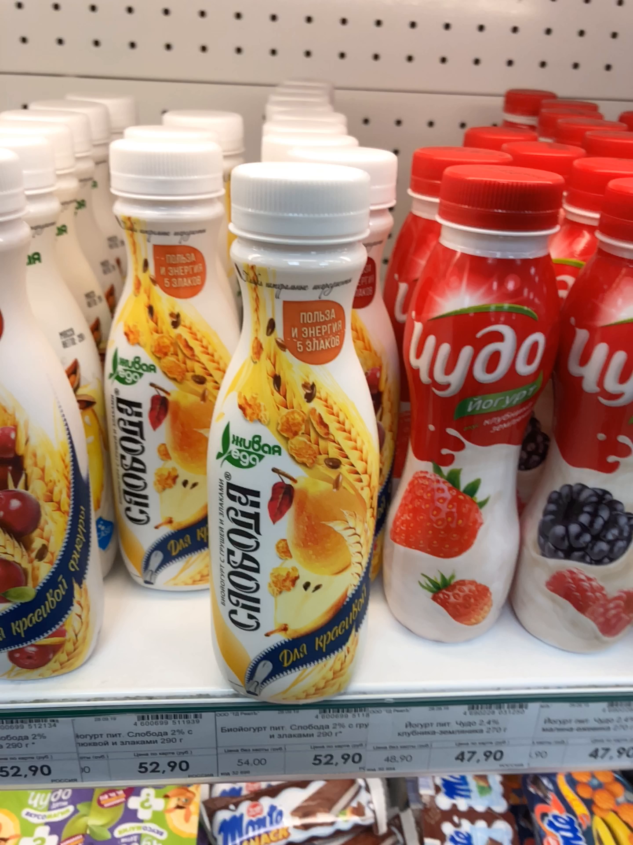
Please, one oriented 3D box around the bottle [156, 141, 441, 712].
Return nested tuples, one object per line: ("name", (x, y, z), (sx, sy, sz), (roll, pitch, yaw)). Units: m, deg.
("bottle", (-0.008, 0.009, 0.244), (0.070, 0.189, 0.060), (2, 28, -1))
